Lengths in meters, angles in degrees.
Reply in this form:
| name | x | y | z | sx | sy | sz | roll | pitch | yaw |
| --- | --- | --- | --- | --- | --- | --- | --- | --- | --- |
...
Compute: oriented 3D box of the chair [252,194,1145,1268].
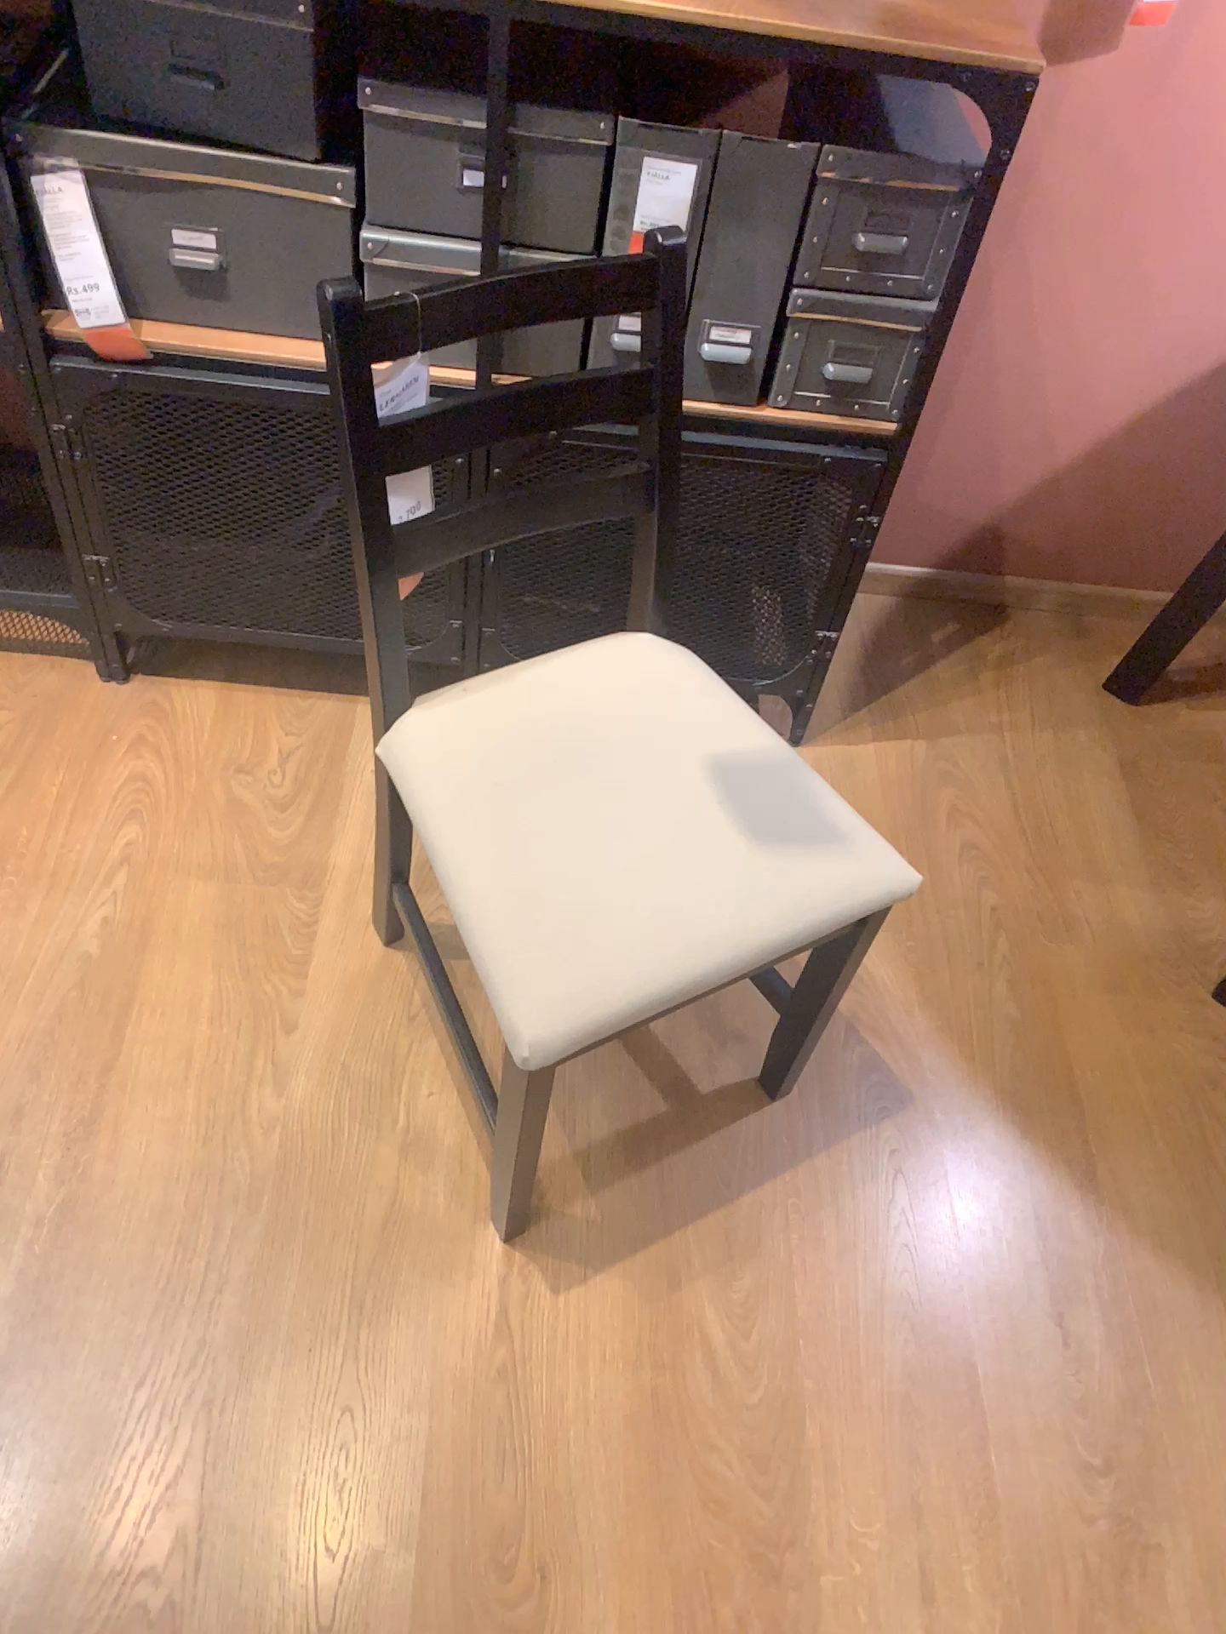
| name | x | y | z | sx | sy | sz | roll | pitch | yaw |
| --- | --- | --- | --- | --- | --- | --- | --- | --- | --- |
| chair | -0.005 | -0.032 | 1.106 | 0.400 | 0.768 | 0.471 | -20 | 57 | -23 |
